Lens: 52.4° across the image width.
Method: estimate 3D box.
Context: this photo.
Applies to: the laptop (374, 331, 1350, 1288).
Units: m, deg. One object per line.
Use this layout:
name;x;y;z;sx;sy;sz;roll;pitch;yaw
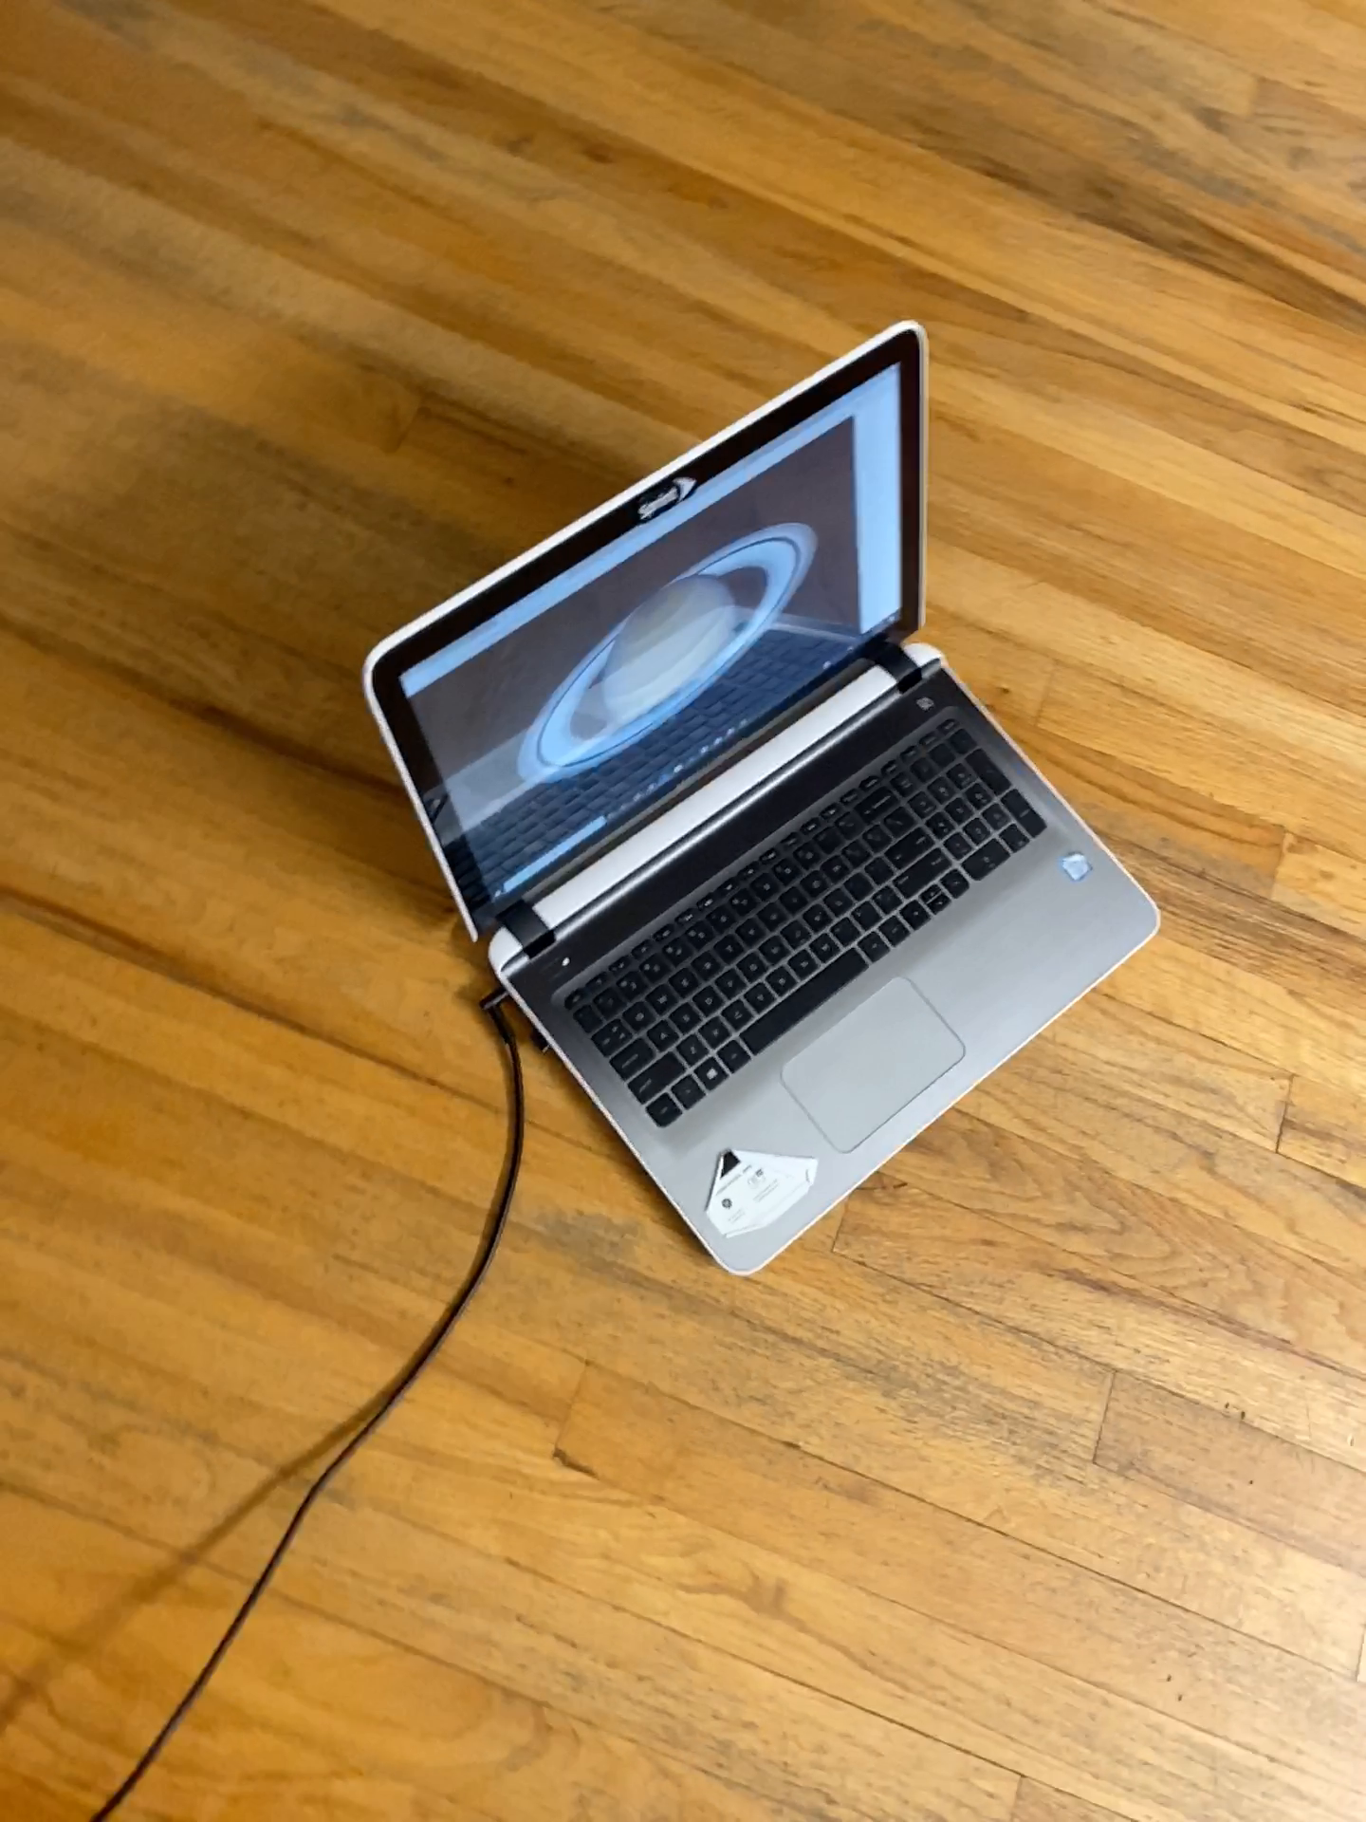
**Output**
laptop;0.089;-0.054;0.806;0.371;0.202;0.363;-36;82;-18
